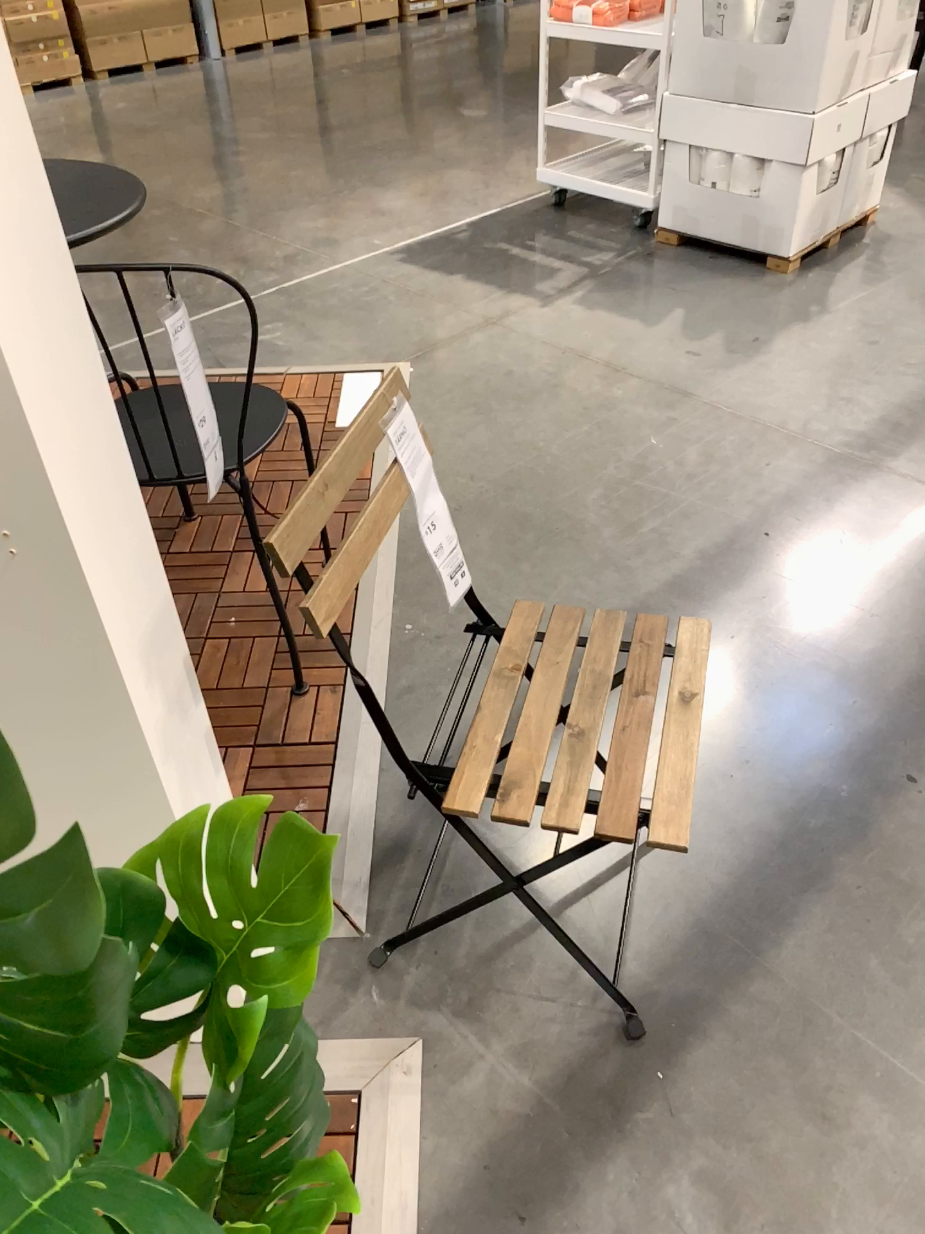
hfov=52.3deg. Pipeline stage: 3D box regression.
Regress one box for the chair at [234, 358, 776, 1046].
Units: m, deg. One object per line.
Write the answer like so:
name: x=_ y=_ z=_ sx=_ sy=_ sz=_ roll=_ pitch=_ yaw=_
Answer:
chair: x=0.083 y=0.118 z=1.200 sx=0.476 sy=0.721 sz=0.410 roll=9 pitch=41 yaw=13

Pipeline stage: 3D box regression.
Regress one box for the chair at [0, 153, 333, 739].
chair: x=-0.498 y=-0.281 z=1.637 sx=0.398 sy=0.821 sz=0.559 roll=-2 pitch=40 yaw=1
